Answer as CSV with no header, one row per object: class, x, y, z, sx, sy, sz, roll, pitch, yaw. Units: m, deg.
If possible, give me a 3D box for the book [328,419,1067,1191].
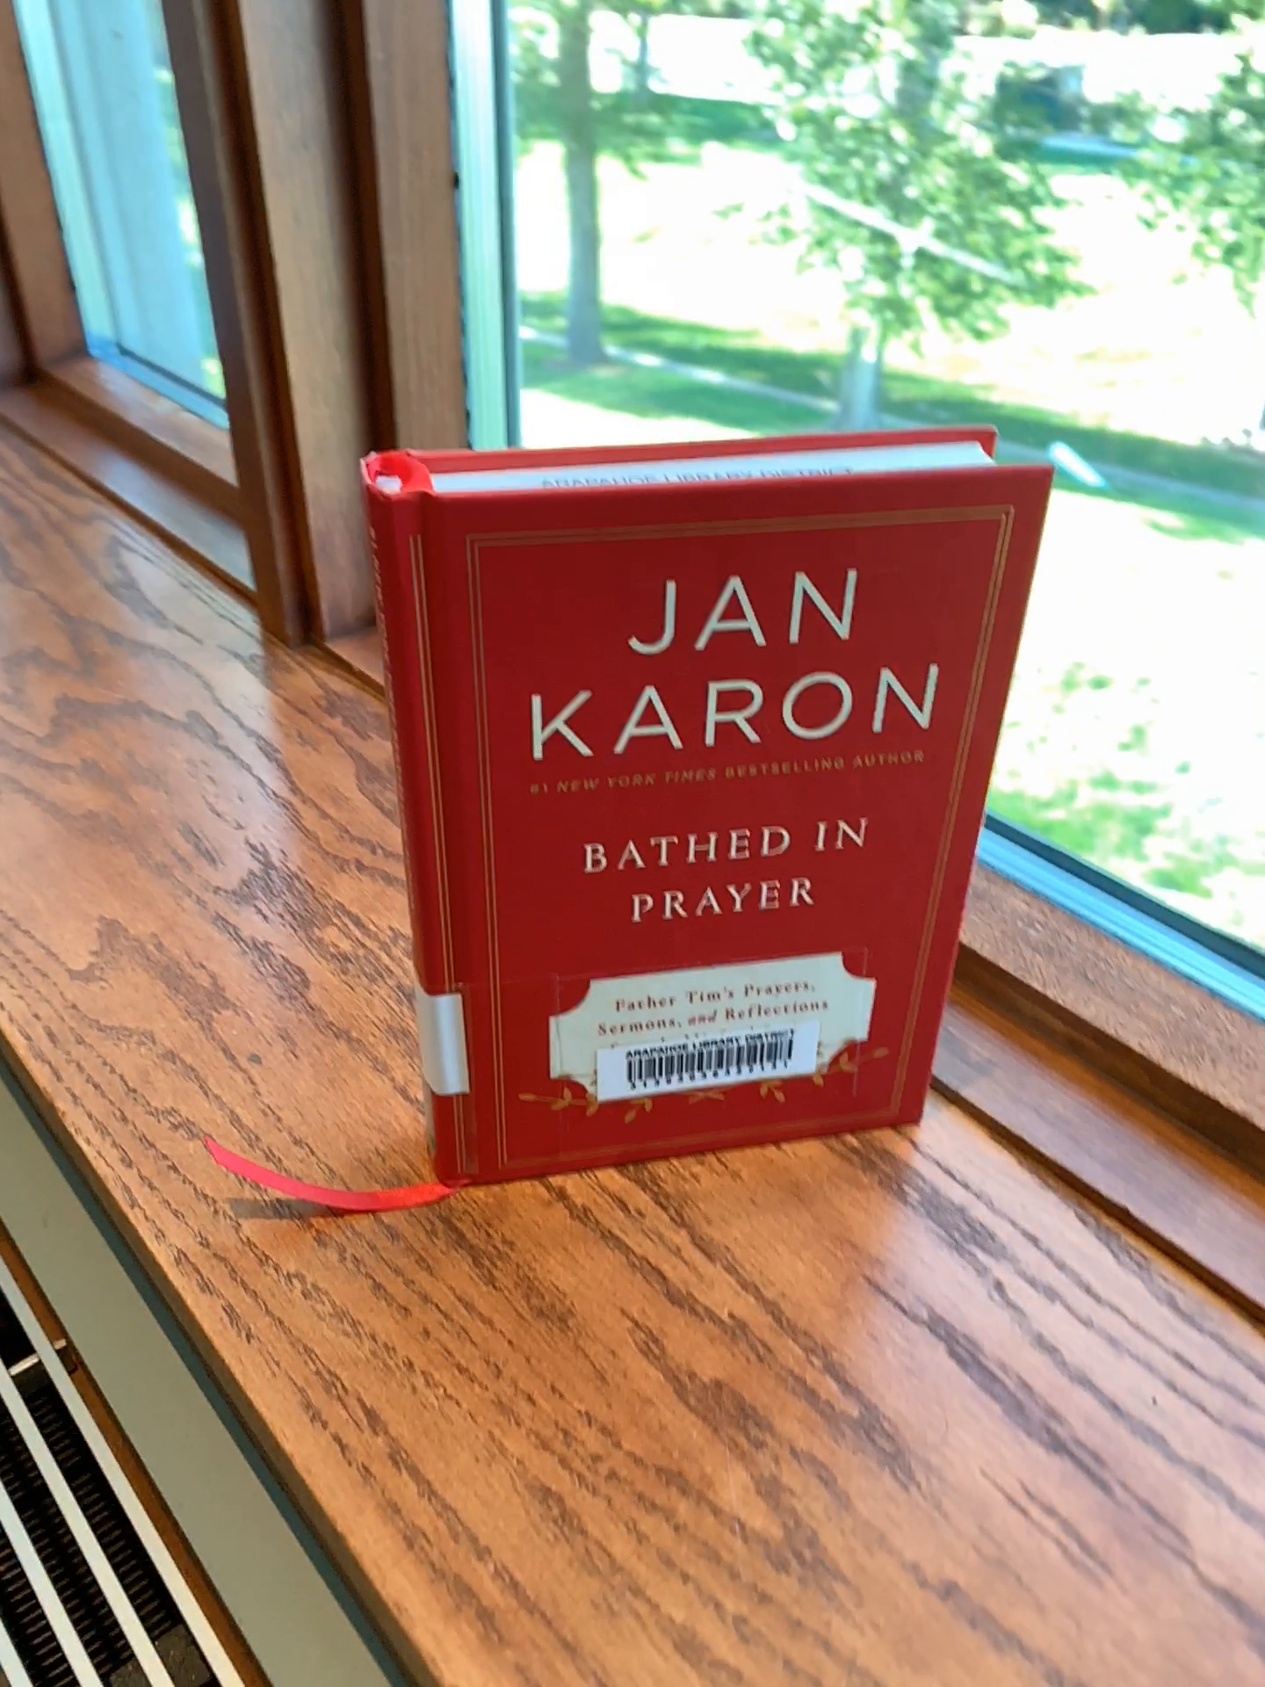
book,0.011,-0.001,0.290,0.135,0.169,0.028,-5,34,-9
